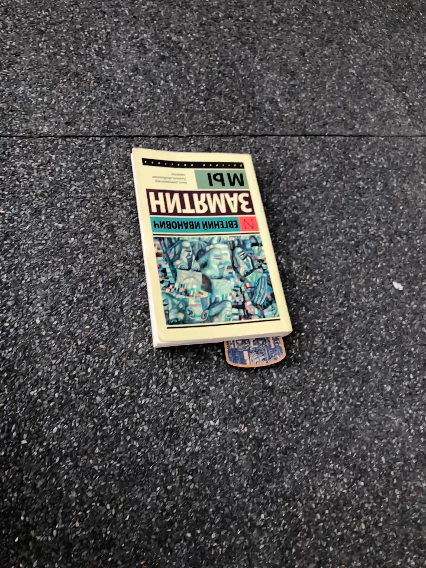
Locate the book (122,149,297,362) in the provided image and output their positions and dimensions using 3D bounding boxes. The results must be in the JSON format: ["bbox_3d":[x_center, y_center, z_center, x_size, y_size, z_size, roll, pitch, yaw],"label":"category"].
[{"bbox_3d":[-0.008,-0.031,0.403,0.120,0.026,0.181,-3,68,-18],"label":"book"}]
